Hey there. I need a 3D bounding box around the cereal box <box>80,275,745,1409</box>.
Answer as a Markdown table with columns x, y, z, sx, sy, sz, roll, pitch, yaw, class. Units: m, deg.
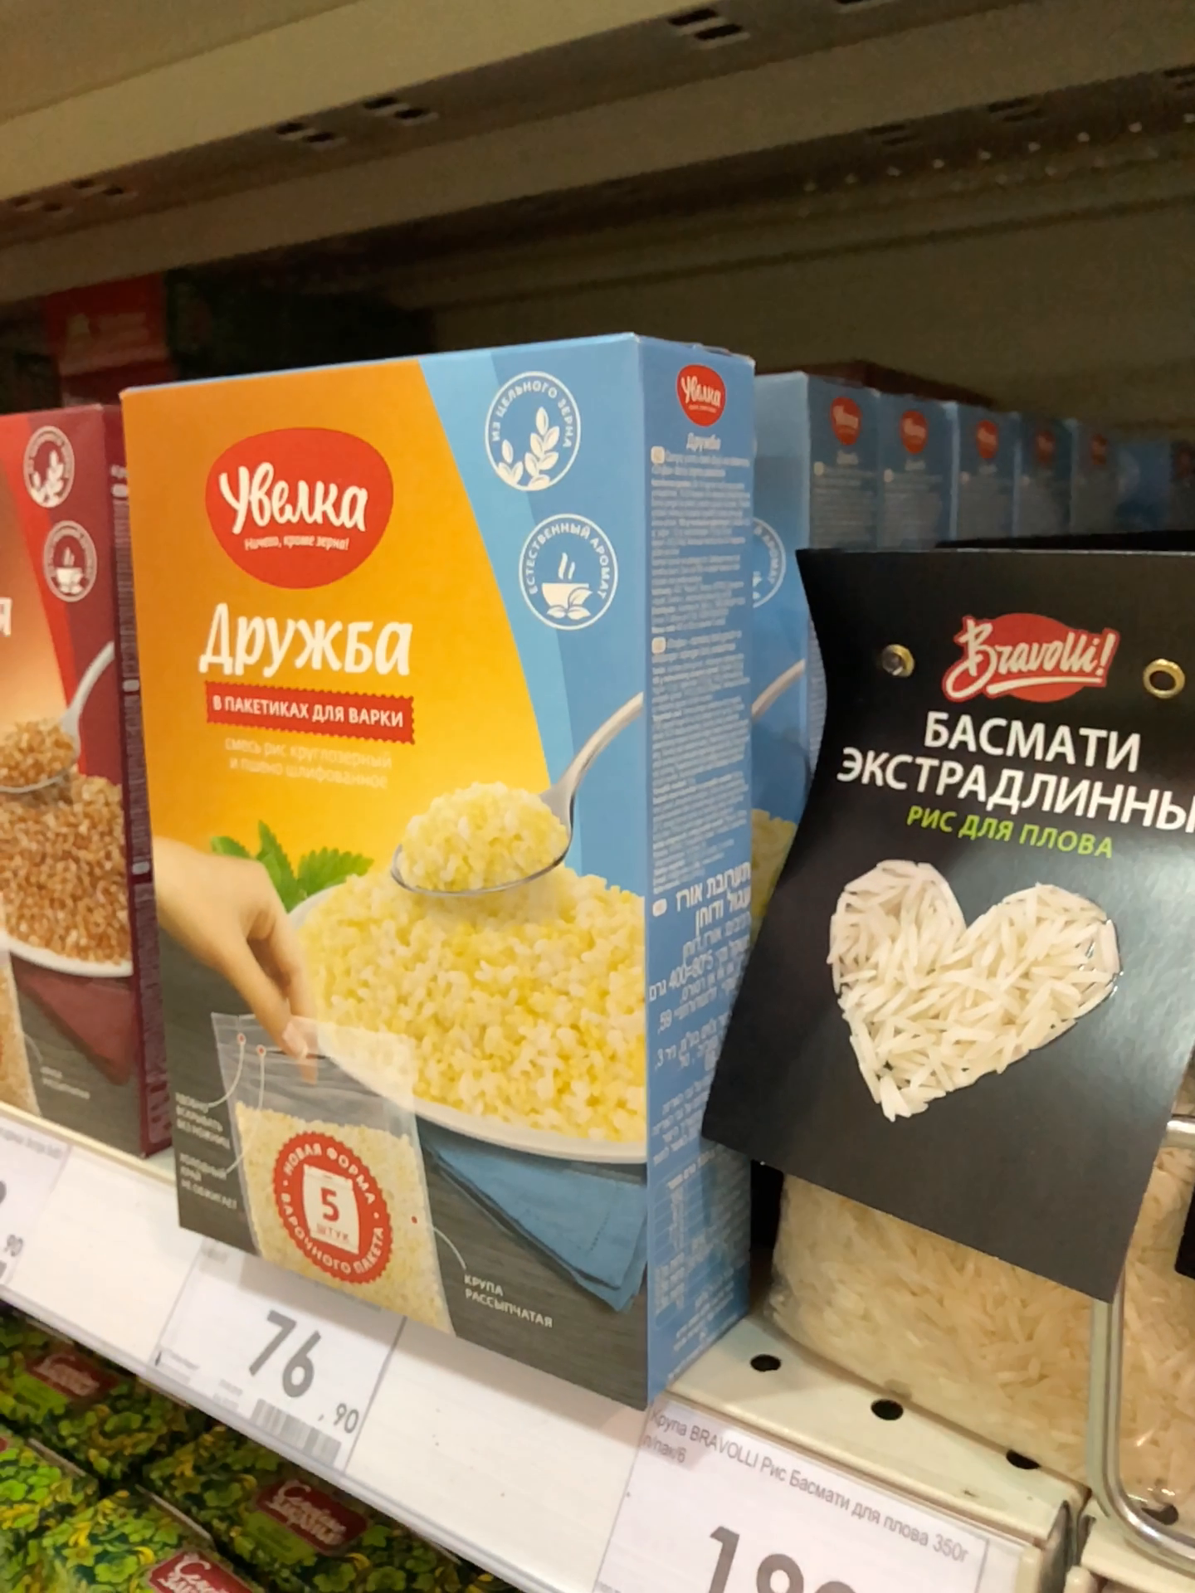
| x | y | z | sx | sy | sz | roll | pitch | yaw | class |
| --- | --- | --- | --- | --- | --- | --- | --- | --- | --- |
| -0.038 | 0.005 | 0.269 | 0.130 | 0.189 | 0.040 | 6 | 12 | 32 | cereal box |
